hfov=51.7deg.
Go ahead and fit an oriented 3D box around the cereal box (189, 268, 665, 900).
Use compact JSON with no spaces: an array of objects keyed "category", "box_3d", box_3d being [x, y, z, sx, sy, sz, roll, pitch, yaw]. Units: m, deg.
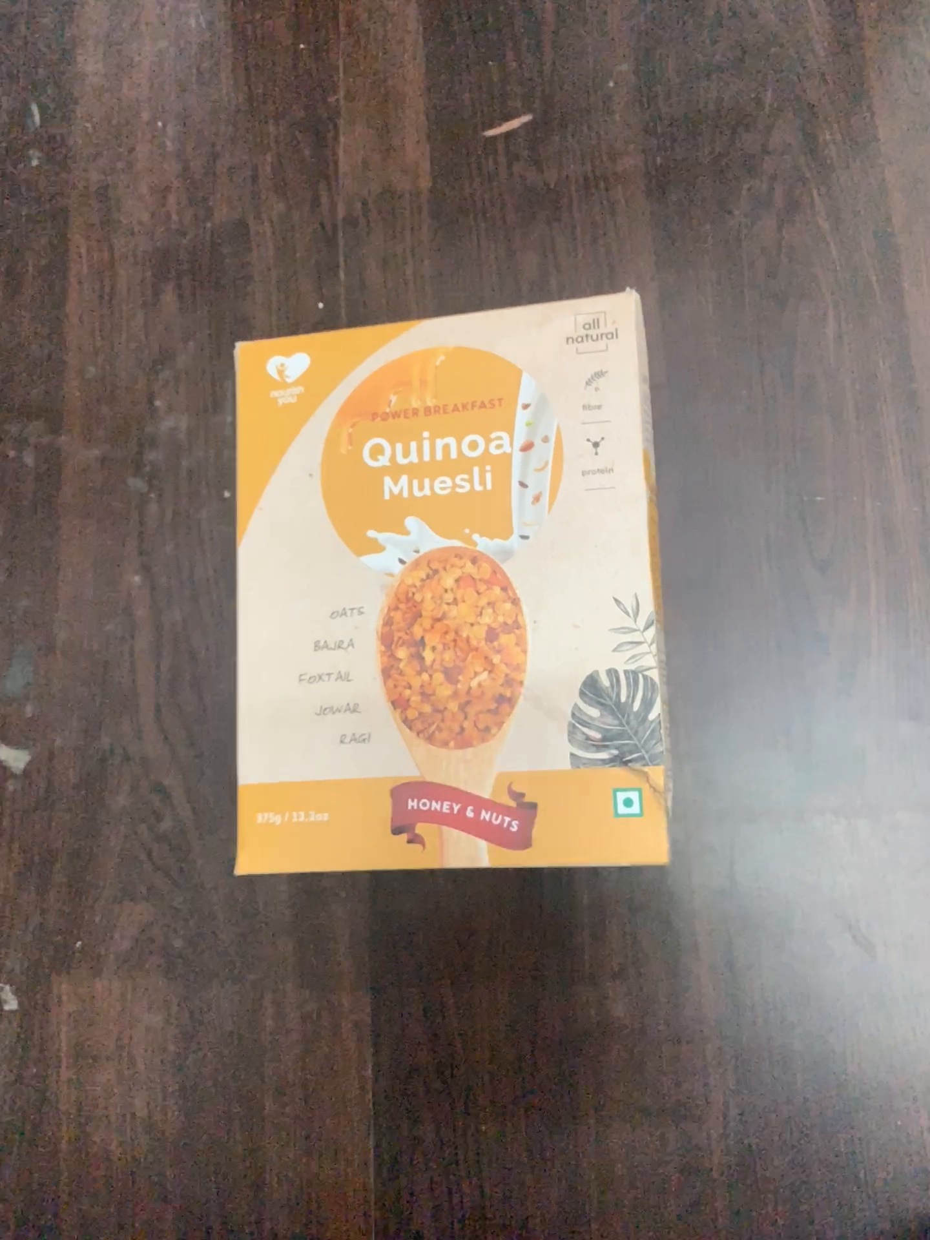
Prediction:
[{"category":"cereal box","box_3d":[-0.015,-0.008,0.377,0.170,0.060,0.220,-4,83,12]}]
